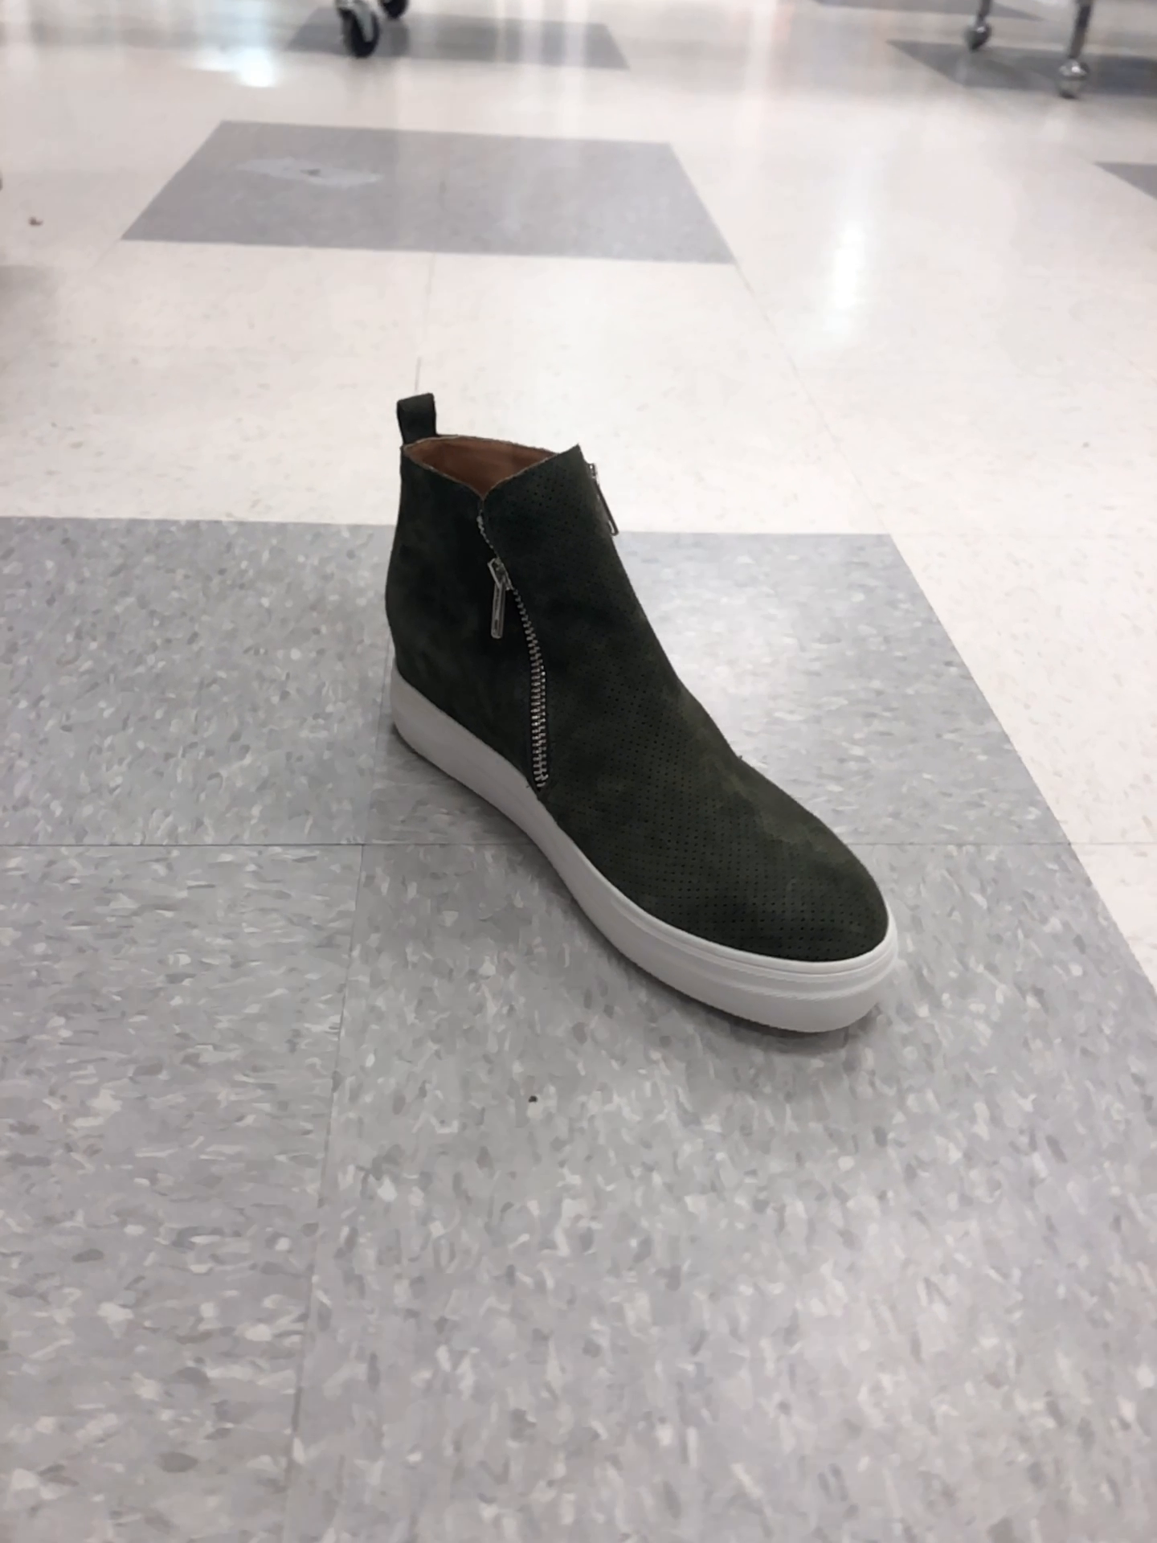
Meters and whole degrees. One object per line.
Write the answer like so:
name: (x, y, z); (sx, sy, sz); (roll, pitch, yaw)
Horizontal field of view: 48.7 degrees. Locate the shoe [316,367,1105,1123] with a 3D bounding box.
shoe: (0.025, -0.033, 0.493); (0.109, 0.141, 0.292); (-24, 44, -31)
